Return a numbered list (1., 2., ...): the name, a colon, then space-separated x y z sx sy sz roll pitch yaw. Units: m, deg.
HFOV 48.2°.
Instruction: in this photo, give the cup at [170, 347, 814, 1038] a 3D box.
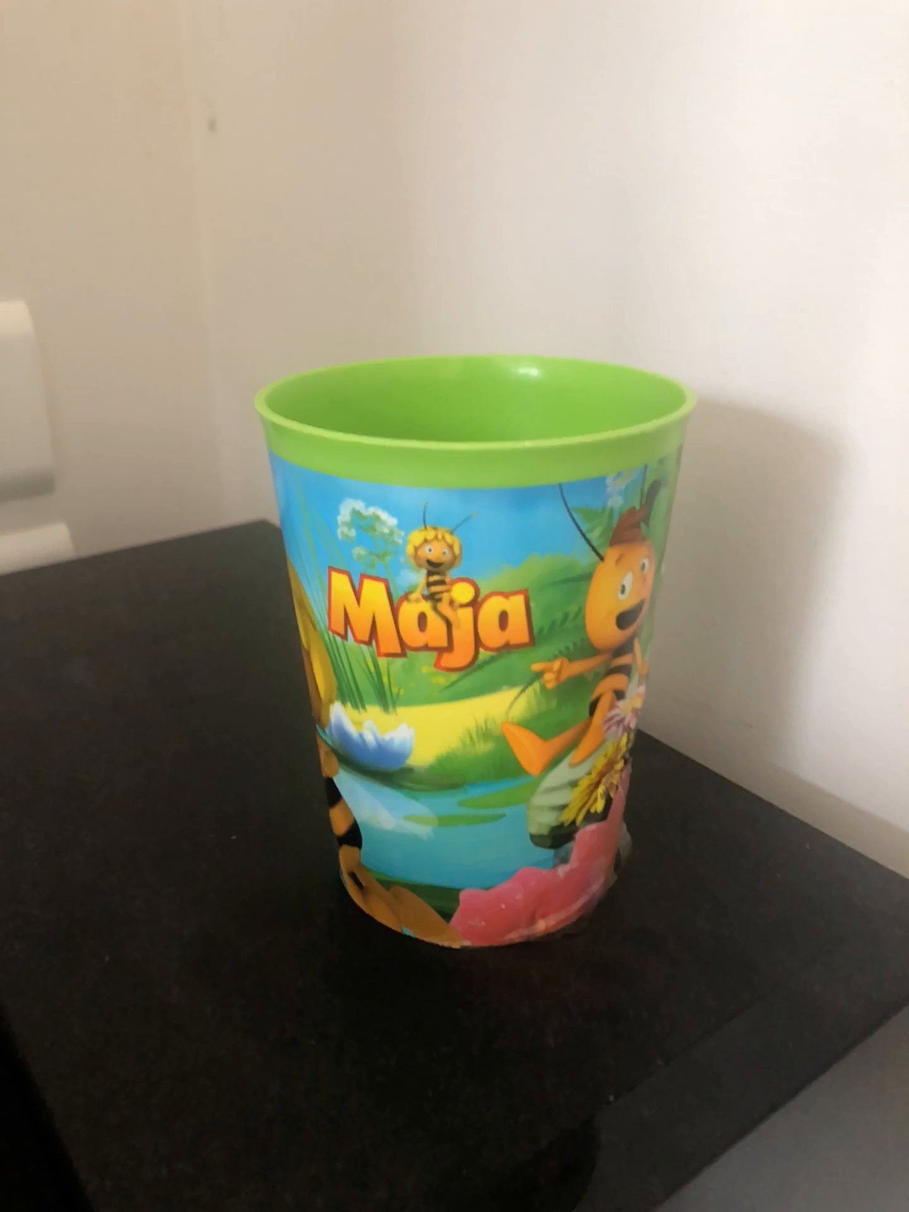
1. cup: 0.006 0.005 0.195 0.080 0.090 0.080 0 22 0
